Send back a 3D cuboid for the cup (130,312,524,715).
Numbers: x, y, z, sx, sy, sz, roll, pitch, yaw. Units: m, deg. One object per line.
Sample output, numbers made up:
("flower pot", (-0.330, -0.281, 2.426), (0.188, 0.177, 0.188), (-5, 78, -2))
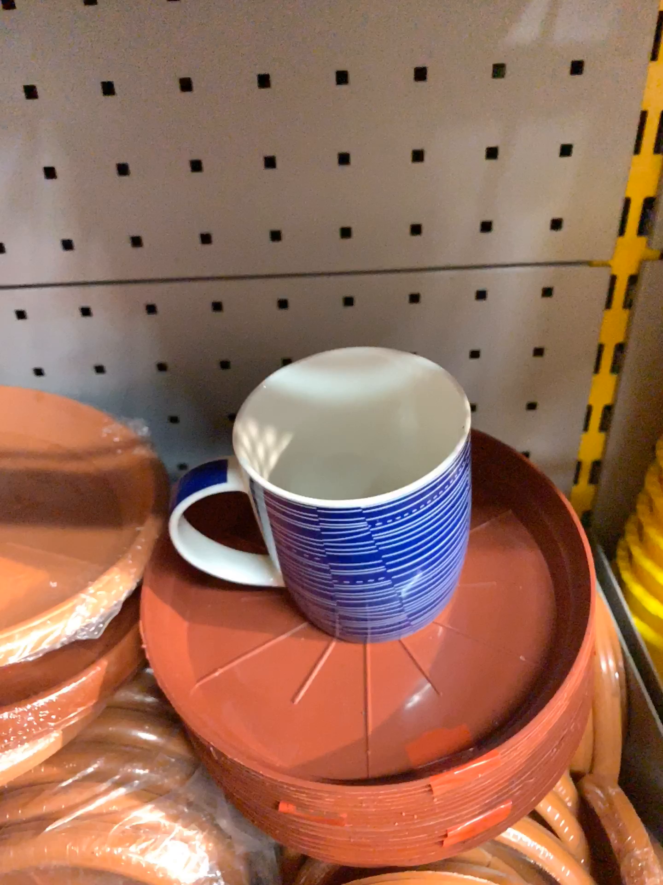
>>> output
("cup", (-0.005, 0.025, 0.292), (0.130, 0.100, 0.100), (-14, 39, -7))
